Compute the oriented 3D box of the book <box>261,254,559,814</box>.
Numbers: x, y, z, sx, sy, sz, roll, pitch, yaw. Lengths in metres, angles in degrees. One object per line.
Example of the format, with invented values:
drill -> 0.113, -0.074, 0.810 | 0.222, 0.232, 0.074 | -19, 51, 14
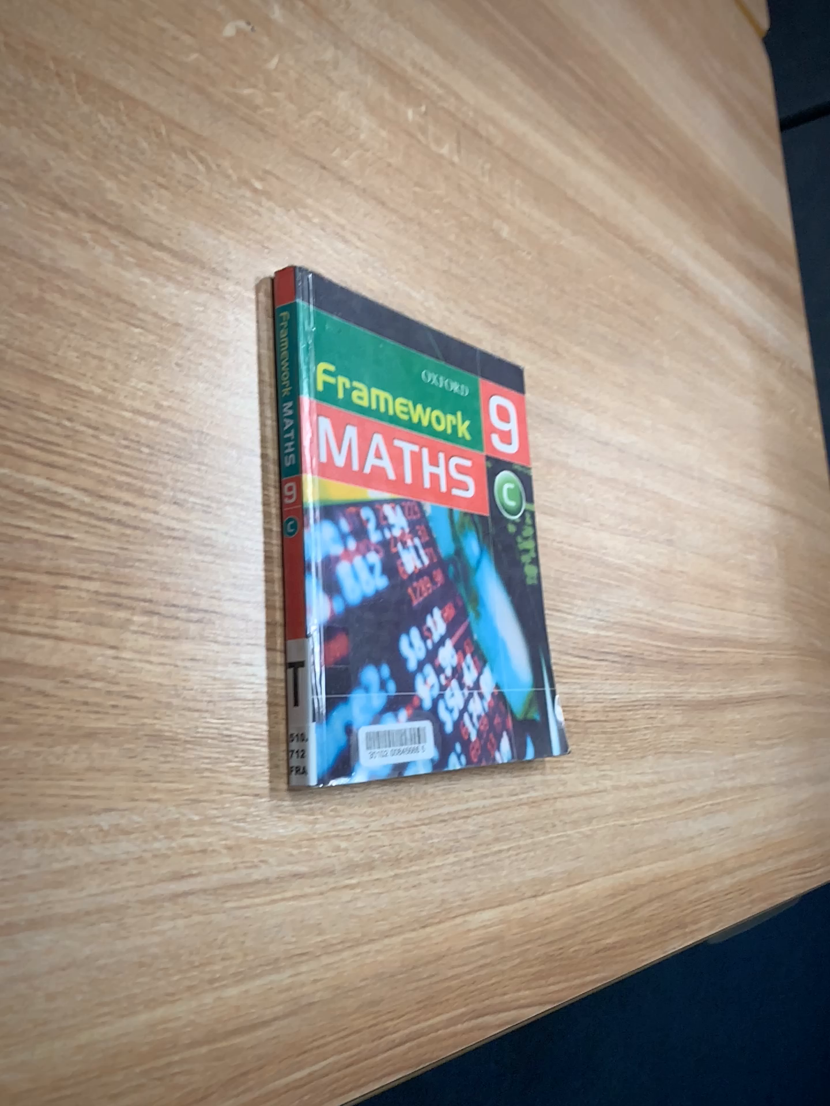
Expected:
book -> 0.005, -0.005, 0.442 | 0.191, 0.020, 0.244 | 7, 76, -49
